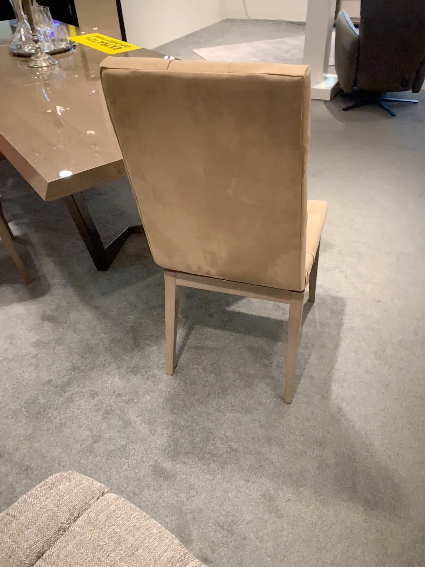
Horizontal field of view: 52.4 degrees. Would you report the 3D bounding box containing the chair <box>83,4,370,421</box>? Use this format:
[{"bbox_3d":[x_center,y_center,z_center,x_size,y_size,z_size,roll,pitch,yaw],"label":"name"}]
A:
[{"bbox_3d":[0.113,-0.206,1.325,0.524,1.021,0.641,8,40,14],"label":"chair"}]

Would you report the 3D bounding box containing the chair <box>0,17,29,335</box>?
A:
[{"bbox_3d":[-1.261,-0.425,1.756,0.637,1.021,0.528,-18,41,-17],"label":"chair"}]
